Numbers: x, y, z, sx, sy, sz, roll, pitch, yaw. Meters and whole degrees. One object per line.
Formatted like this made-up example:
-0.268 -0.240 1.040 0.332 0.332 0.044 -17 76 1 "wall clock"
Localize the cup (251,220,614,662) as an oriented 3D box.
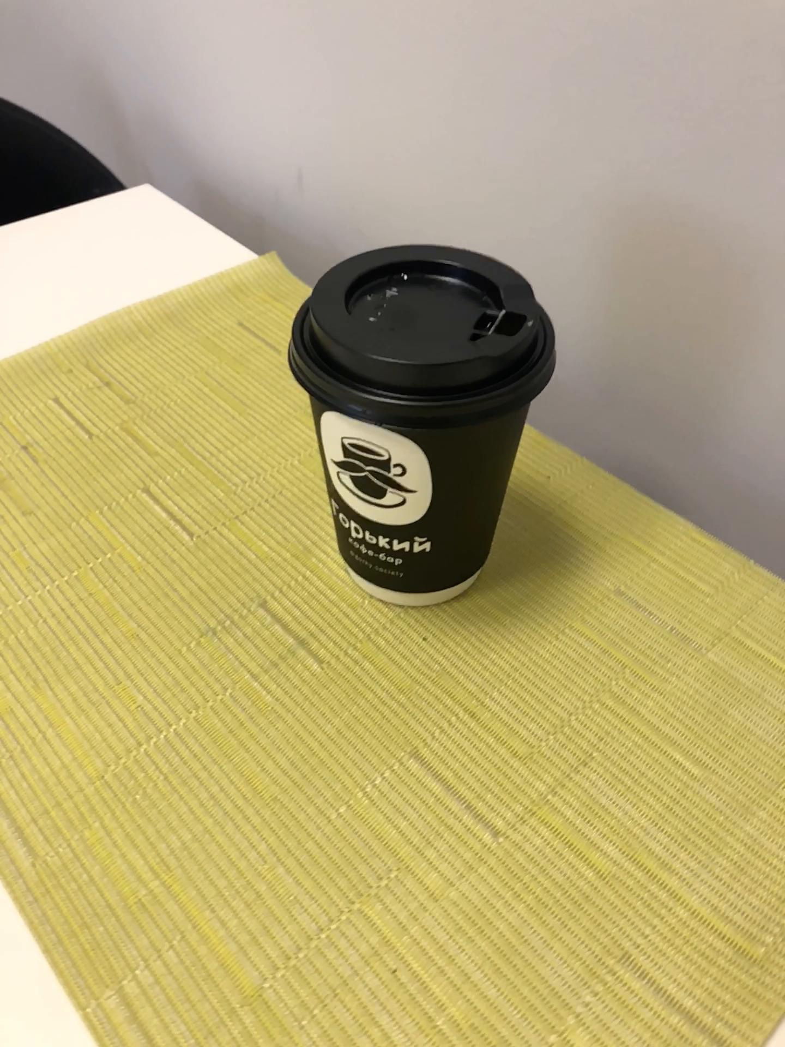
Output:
0.015 -0.033 0.343 0.092 0.119 0.090 1 44 -1 "cup"
